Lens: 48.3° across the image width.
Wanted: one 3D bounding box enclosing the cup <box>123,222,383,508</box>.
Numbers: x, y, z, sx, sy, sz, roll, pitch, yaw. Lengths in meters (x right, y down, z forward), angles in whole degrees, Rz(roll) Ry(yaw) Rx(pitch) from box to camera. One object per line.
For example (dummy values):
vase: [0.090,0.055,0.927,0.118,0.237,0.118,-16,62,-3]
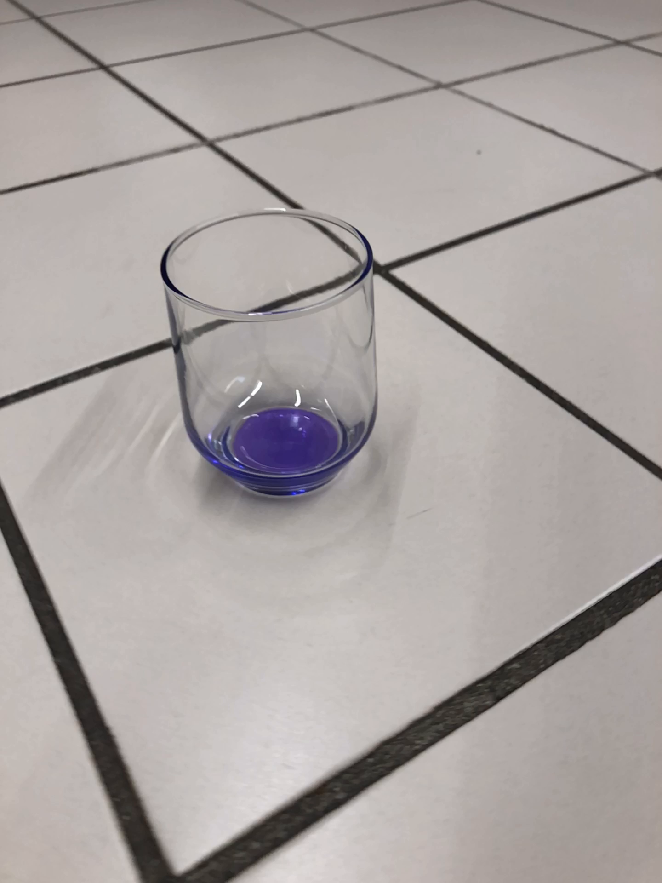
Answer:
cup: [-0.020,-0.026,0.243,0.069,0.063,0.071,-1,42,1]
